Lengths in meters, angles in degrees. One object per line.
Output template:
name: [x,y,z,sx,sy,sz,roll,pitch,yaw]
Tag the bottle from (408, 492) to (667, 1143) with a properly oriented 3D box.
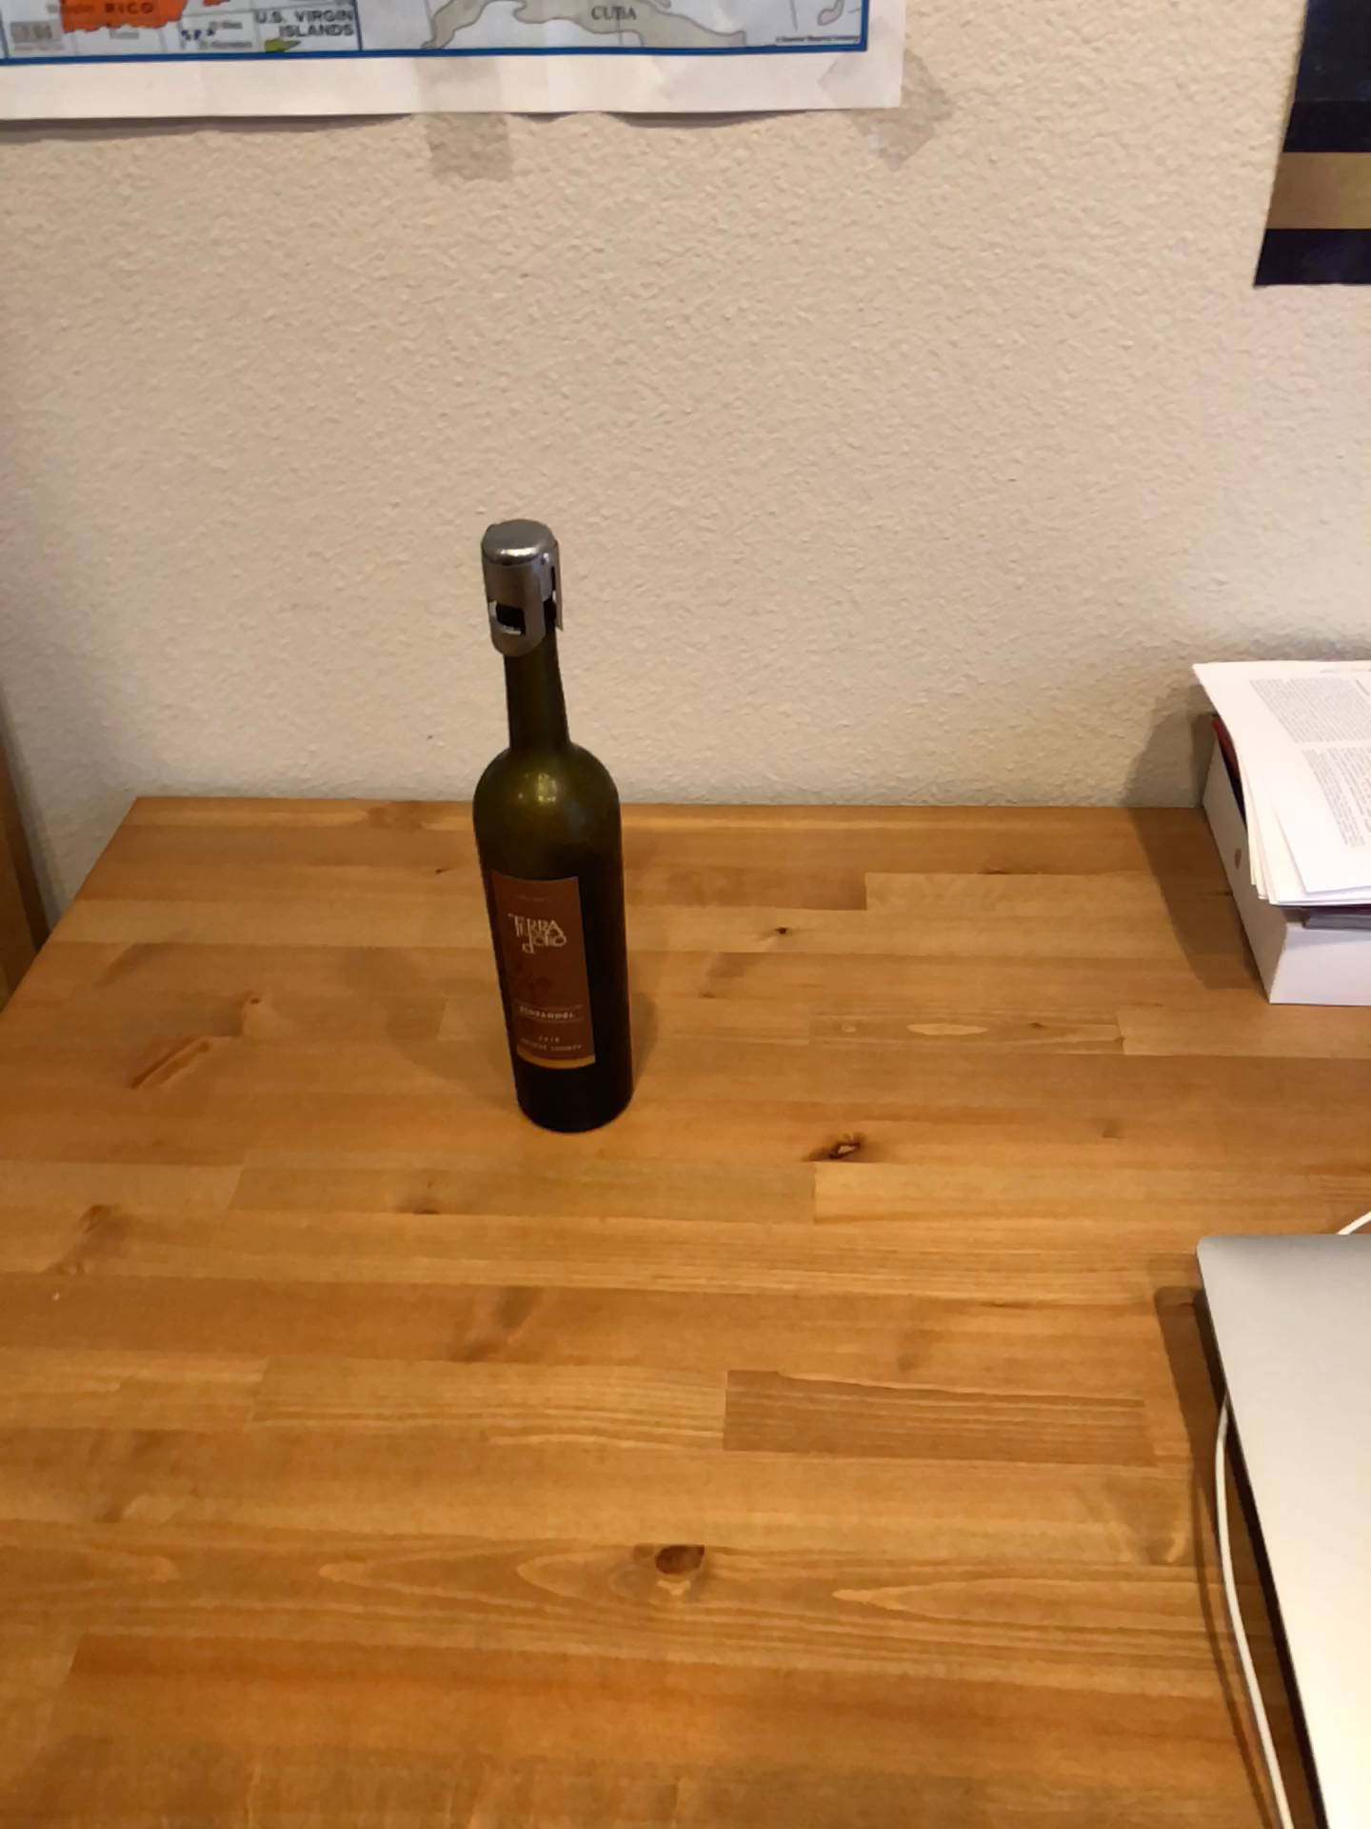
bottle: [-0.067,-0.037,0.799,0.080,0.348,0.080,-2,37,1]
